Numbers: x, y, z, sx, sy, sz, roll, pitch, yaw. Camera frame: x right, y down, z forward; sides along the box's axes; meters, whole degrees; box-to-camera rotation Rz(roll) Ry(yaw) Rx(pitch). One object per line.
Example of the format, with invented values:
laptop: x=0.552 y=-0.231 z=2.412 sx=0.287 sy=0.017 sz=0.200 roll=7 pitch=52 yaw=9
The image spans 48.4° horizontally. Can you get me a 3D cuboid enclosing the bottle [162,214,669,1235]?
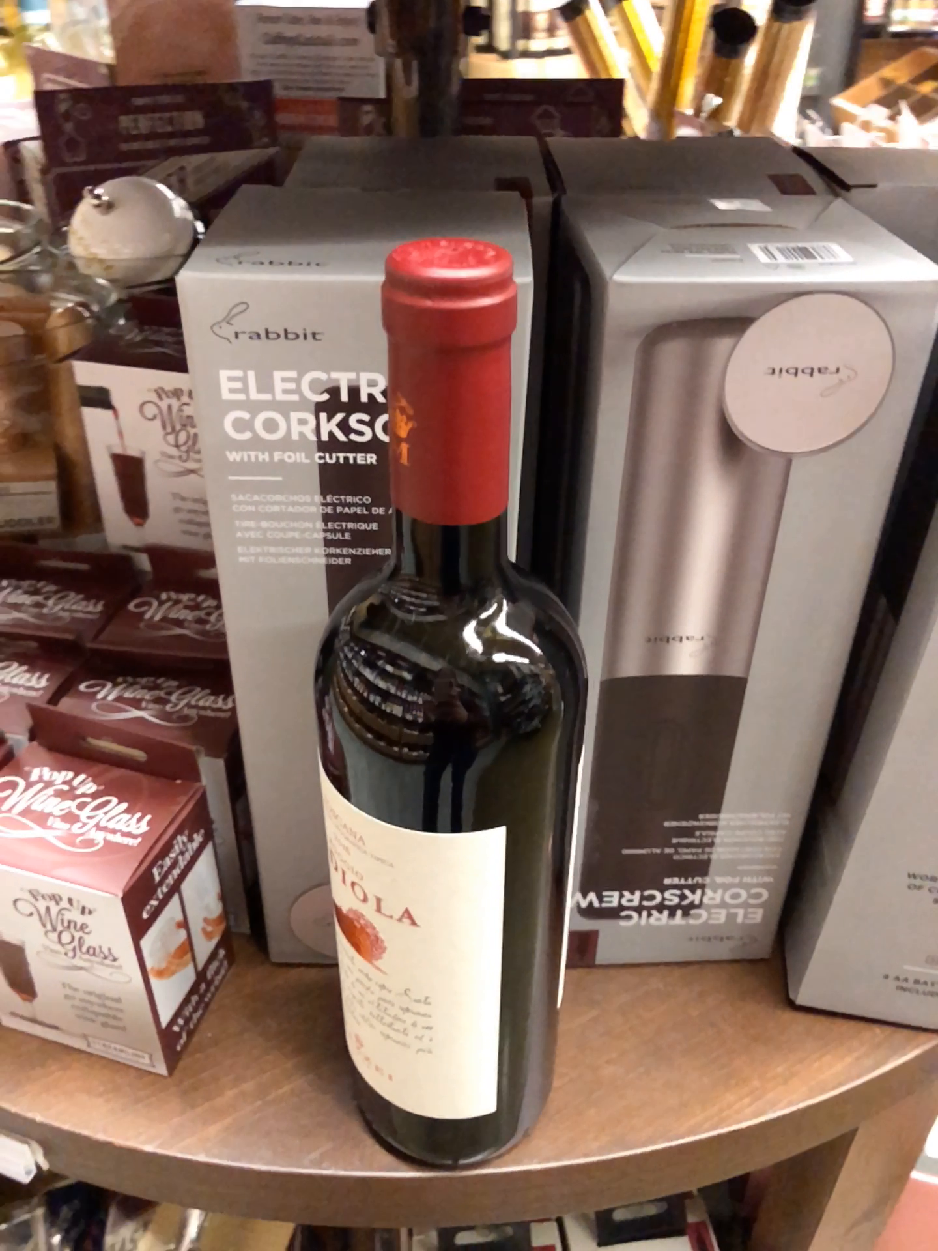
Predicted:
bottle: x=-0.011 y=0.046 z=0.293 sx=0.072 sy=0.285 sz=0.076 roll=-1 pitch=35 yaw=0
